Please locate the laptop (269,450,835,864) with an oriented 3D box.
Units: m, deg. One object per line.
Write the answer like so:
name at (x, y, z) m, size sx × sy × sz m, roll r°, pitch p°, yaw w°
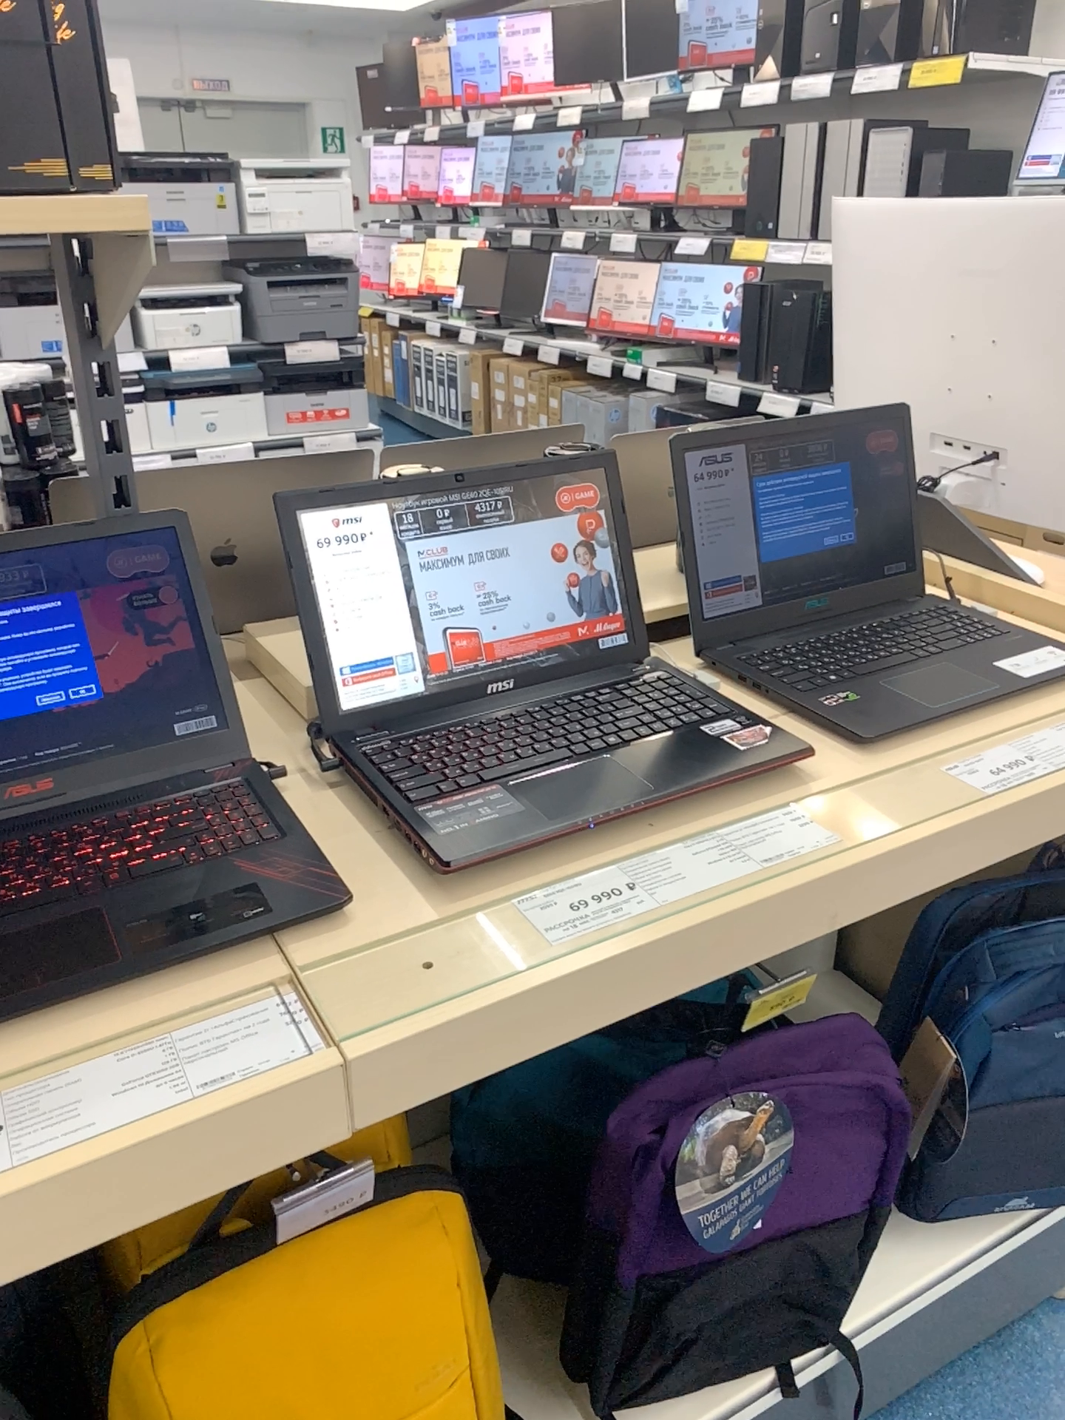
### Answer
laptop at (0.008, -0.077, 0.941) m, size 0.356 × 0.197 × 0.313 m, roll -14°, pitch 29°, yaw -29°
